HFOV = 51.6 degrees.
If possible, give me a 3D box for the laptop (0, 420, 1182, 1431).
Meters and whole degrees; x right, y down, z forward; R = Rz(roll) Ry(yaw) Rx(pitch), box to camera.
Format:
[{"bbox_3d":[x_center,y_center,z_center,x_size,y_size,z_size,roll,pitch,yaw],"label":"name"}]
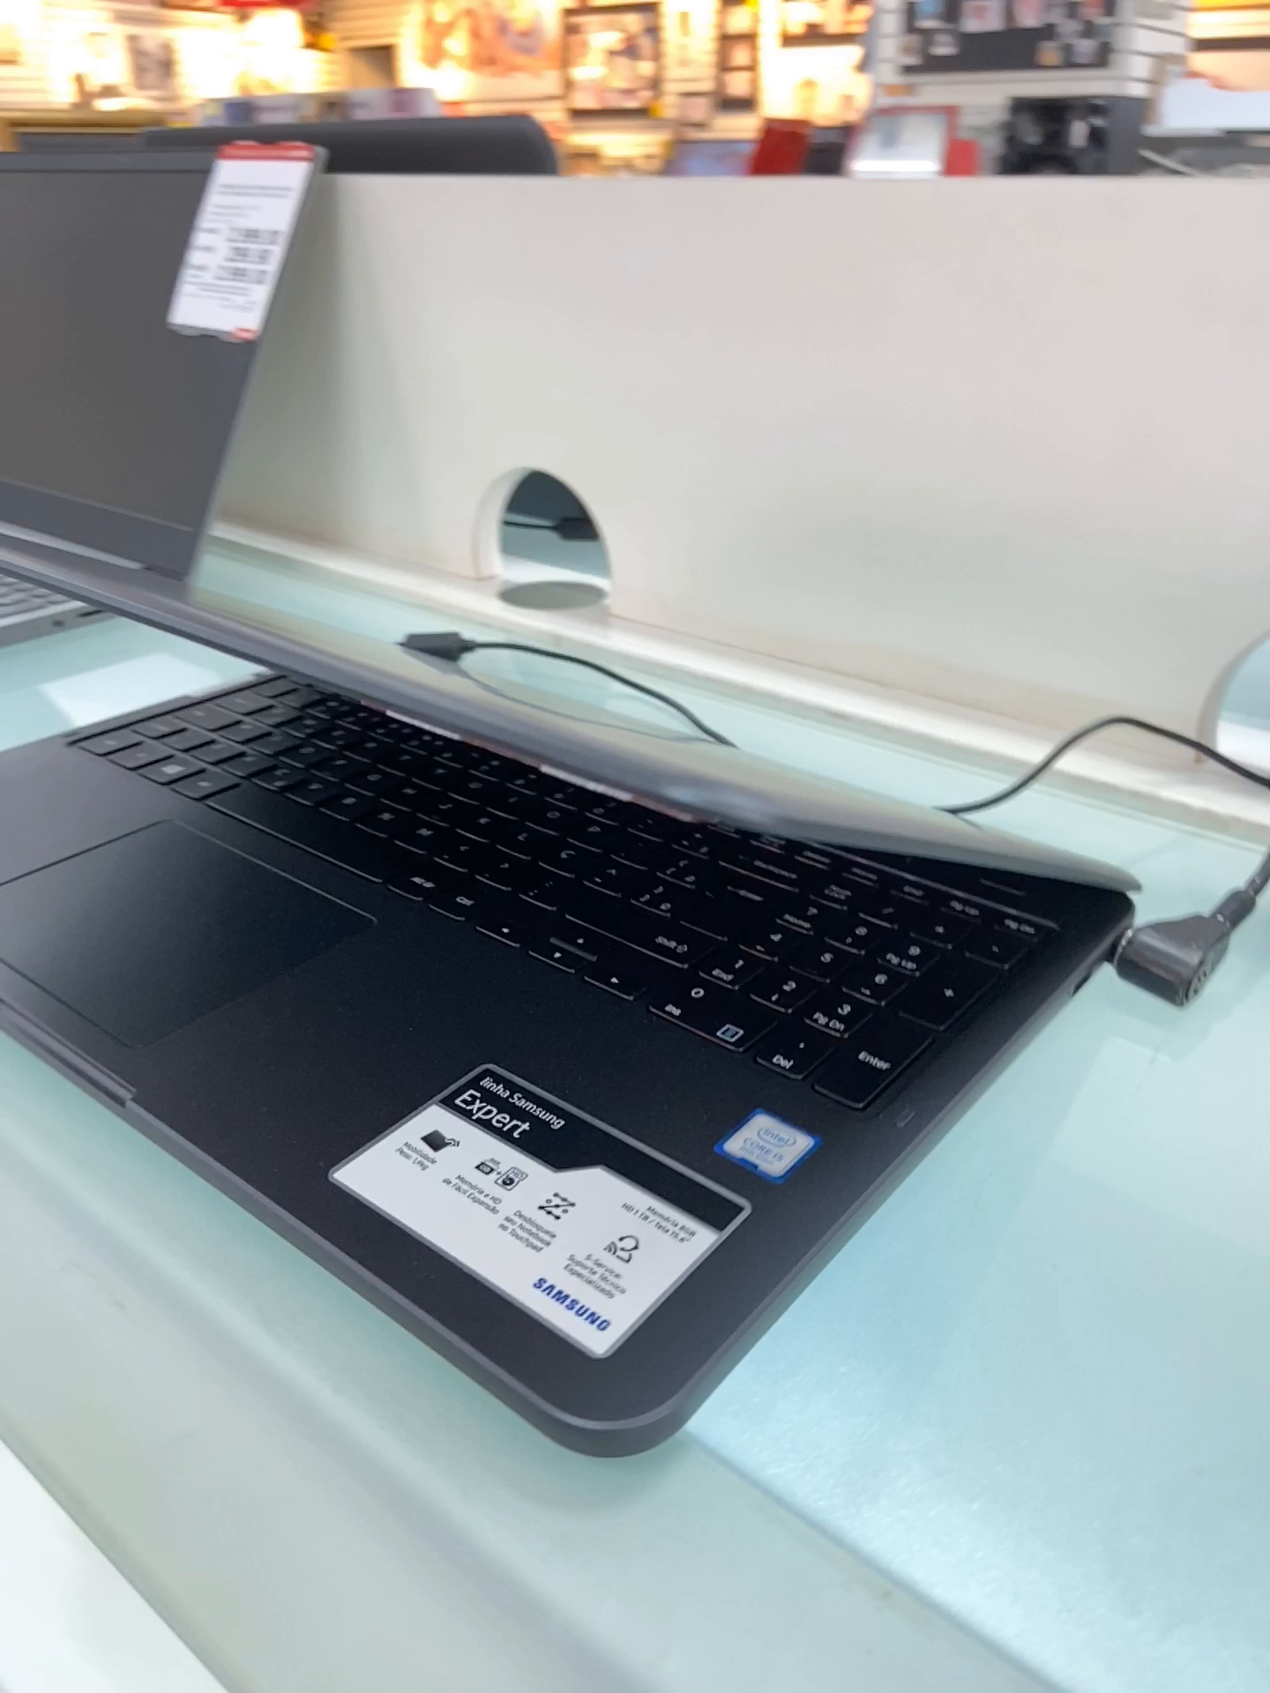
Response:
[{"bbox_3d":[-0.078,-0.039,0.393,0.376,0.101,0.234,20,34,35],"label":"laptop"}]
